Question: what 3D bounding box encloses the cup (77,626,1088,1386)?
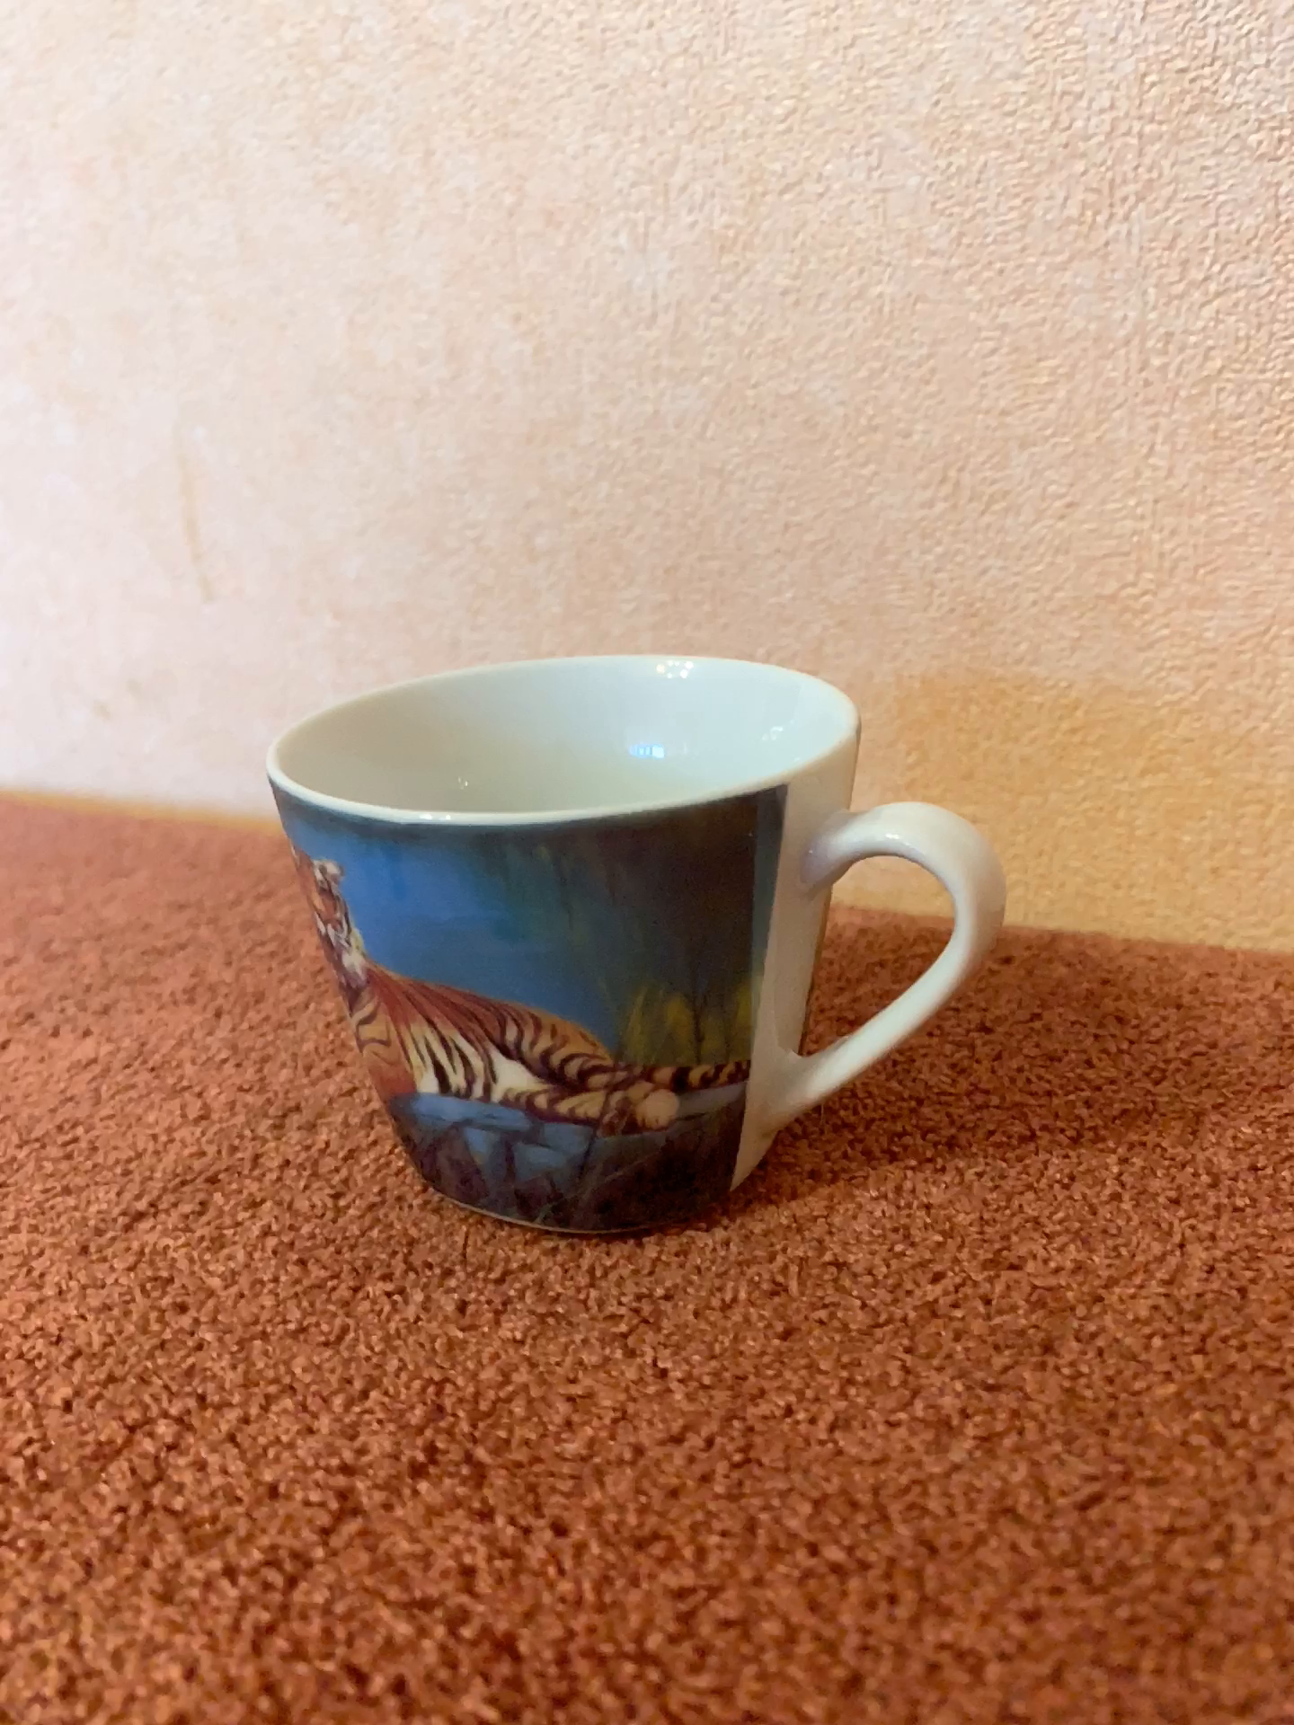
[{"bbox_3d":[-0.002,0.004,0.154,0.083,0.048,0.072,6,23,33],"label":"cup"}]
